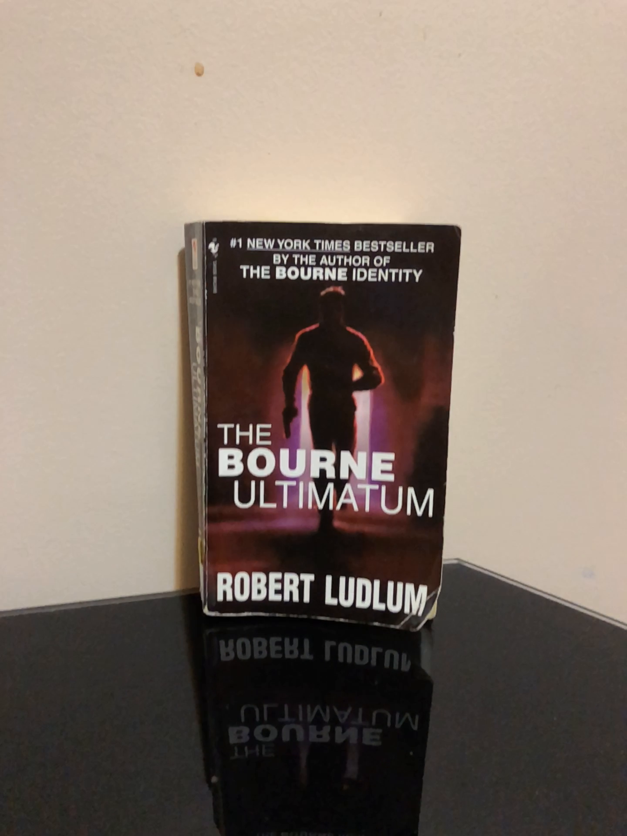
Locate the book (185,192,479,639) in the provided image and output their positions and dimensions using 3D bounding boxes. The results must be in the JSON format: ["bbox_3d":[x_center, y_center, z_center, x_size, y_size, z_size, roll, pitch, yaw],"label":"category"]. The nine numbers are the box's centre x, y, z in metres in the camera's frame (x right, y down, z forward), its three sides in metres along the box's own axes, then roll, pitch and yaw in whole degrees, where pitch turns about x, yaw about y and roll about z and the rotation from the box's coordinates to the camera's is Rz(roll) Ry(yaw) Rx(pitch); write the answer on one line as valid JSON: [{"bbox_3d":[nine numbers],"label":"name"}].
[{"bbox_3d":[0.008,-0.003,0.331,0.120,0.190,0.070,-1,8,-3],"label":"book"}]
